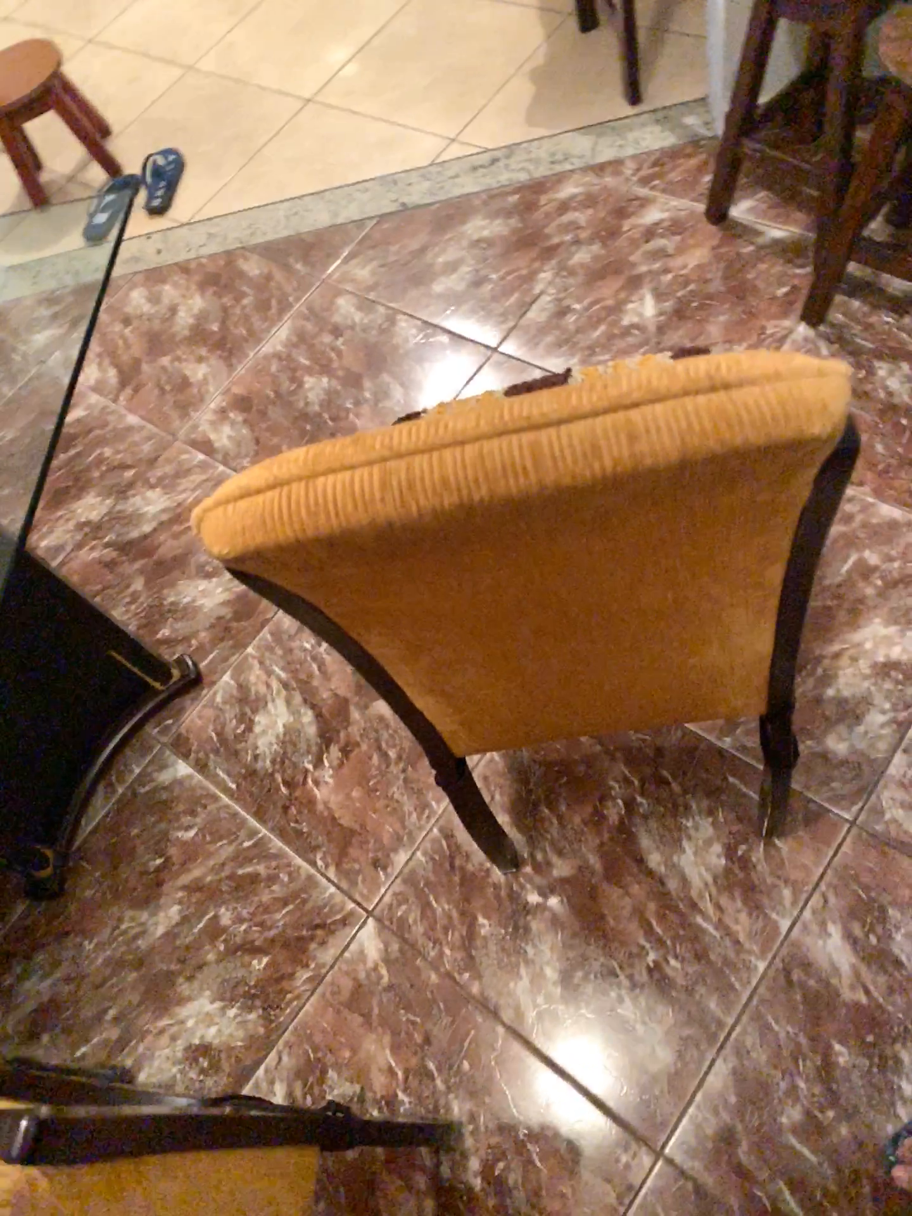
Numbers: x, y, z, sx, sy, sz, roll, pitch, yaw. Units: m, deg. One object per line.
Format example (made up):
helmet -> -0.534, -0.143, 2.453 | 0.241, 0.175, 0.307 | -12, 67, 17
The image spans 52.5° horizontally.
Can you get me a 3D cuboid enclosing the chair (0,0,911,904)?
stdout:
chair -> 0.099, -0.112, 1.019 | 0.560, 0.936, 0.602 | -11, 59, 10
